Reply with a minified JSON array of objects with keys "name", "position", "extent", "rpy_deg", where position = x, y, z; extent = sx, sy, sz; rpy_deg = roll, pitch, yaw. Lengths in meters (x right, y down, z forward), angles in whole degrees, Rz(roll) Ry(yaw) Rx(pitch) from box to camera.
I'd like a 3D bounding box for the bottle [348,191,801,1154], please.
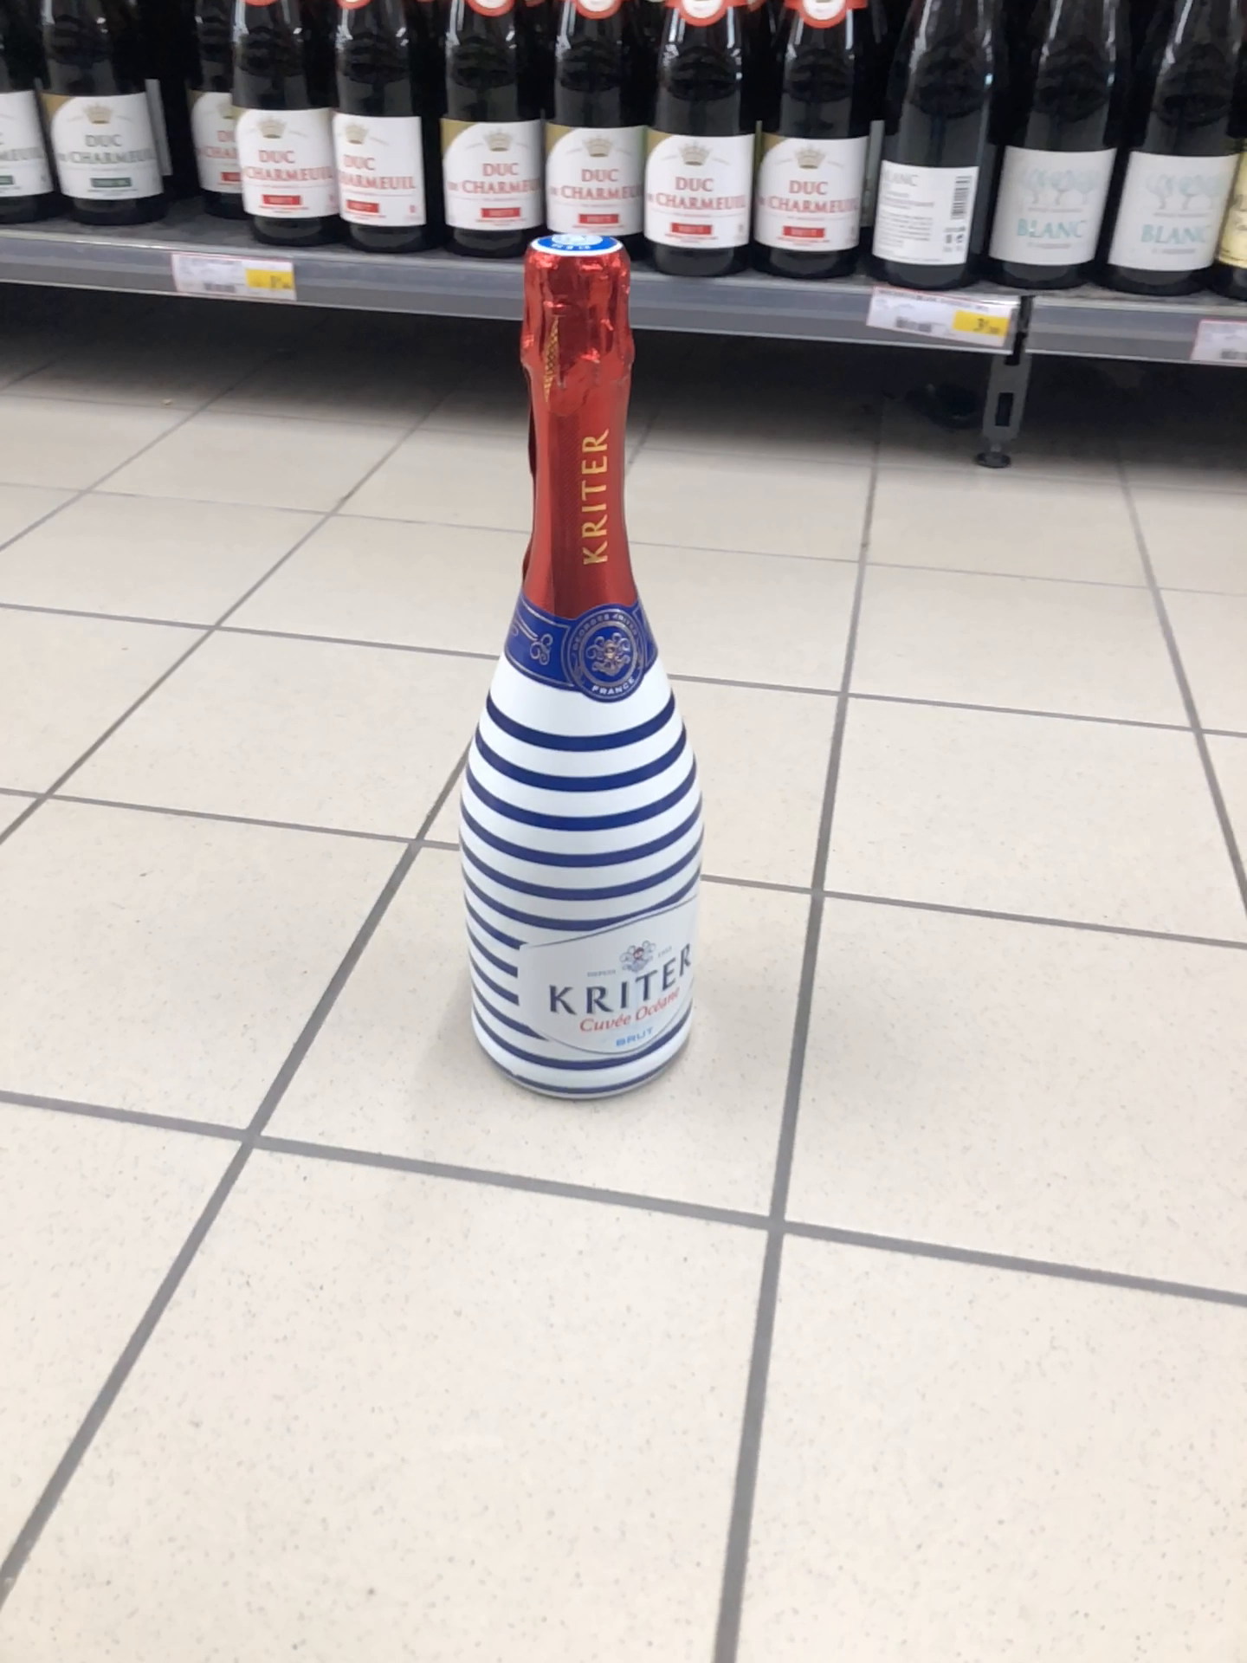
[{"name":"bottle","position":[-0.019,-0.046,0.476],"extent":[0.100,0.308,0.090],"rpy_deg":[-16,36,-25]}]
